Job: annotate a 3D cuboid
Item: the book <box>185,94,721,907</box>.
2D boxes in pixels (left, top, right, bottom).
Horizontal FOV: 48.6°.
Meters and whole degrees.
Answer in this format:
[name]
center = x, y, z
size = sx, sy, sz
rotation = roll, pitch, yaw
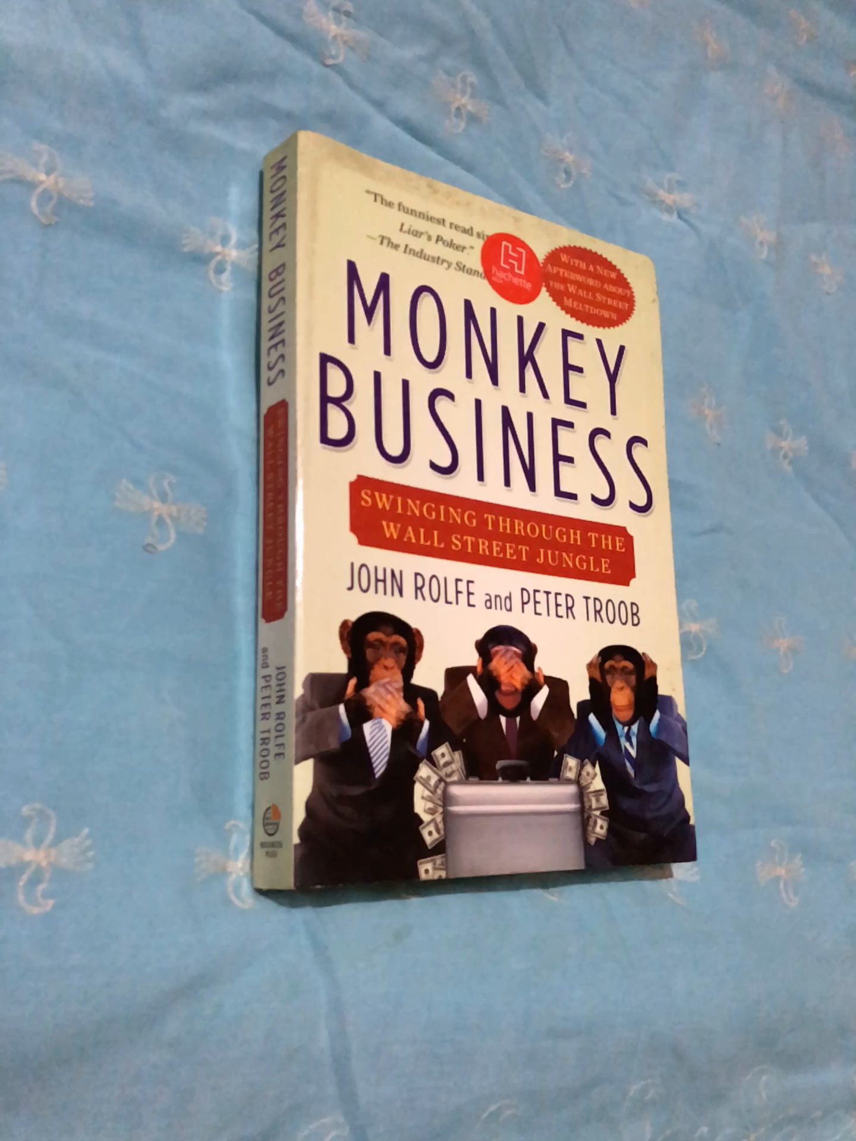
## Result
[book]
center = 0.019, -0.015, 0.323
size = 0.171, 0.040, 0.240
rotation = 12, 71, -31
